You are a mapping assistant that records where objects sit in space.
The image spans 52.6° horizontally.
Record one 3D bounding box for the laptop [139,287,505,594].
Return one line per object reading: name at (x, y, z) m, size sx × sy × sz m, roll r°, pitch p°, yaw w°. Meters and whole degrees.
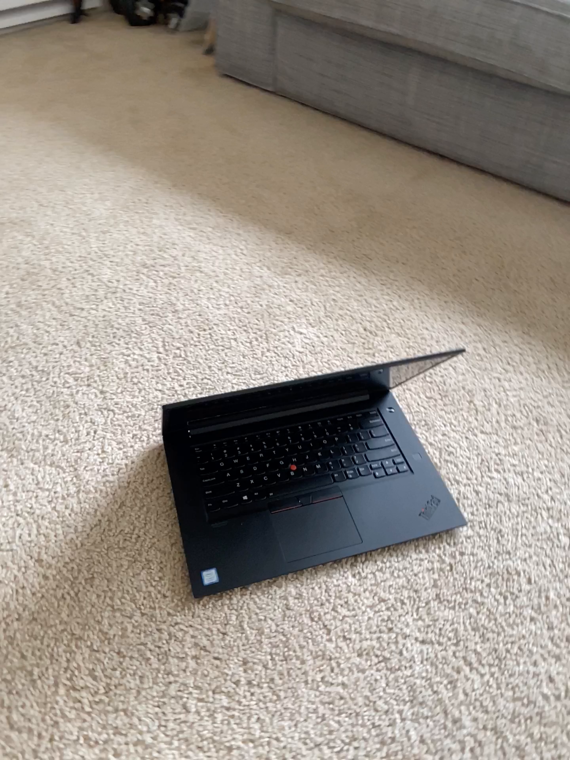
laptop at (0.026, 0.062, 0.722) m, size 0.355 × 0.198 × 0.244 m, roll -10°, pitch 48°, yaw -14°
